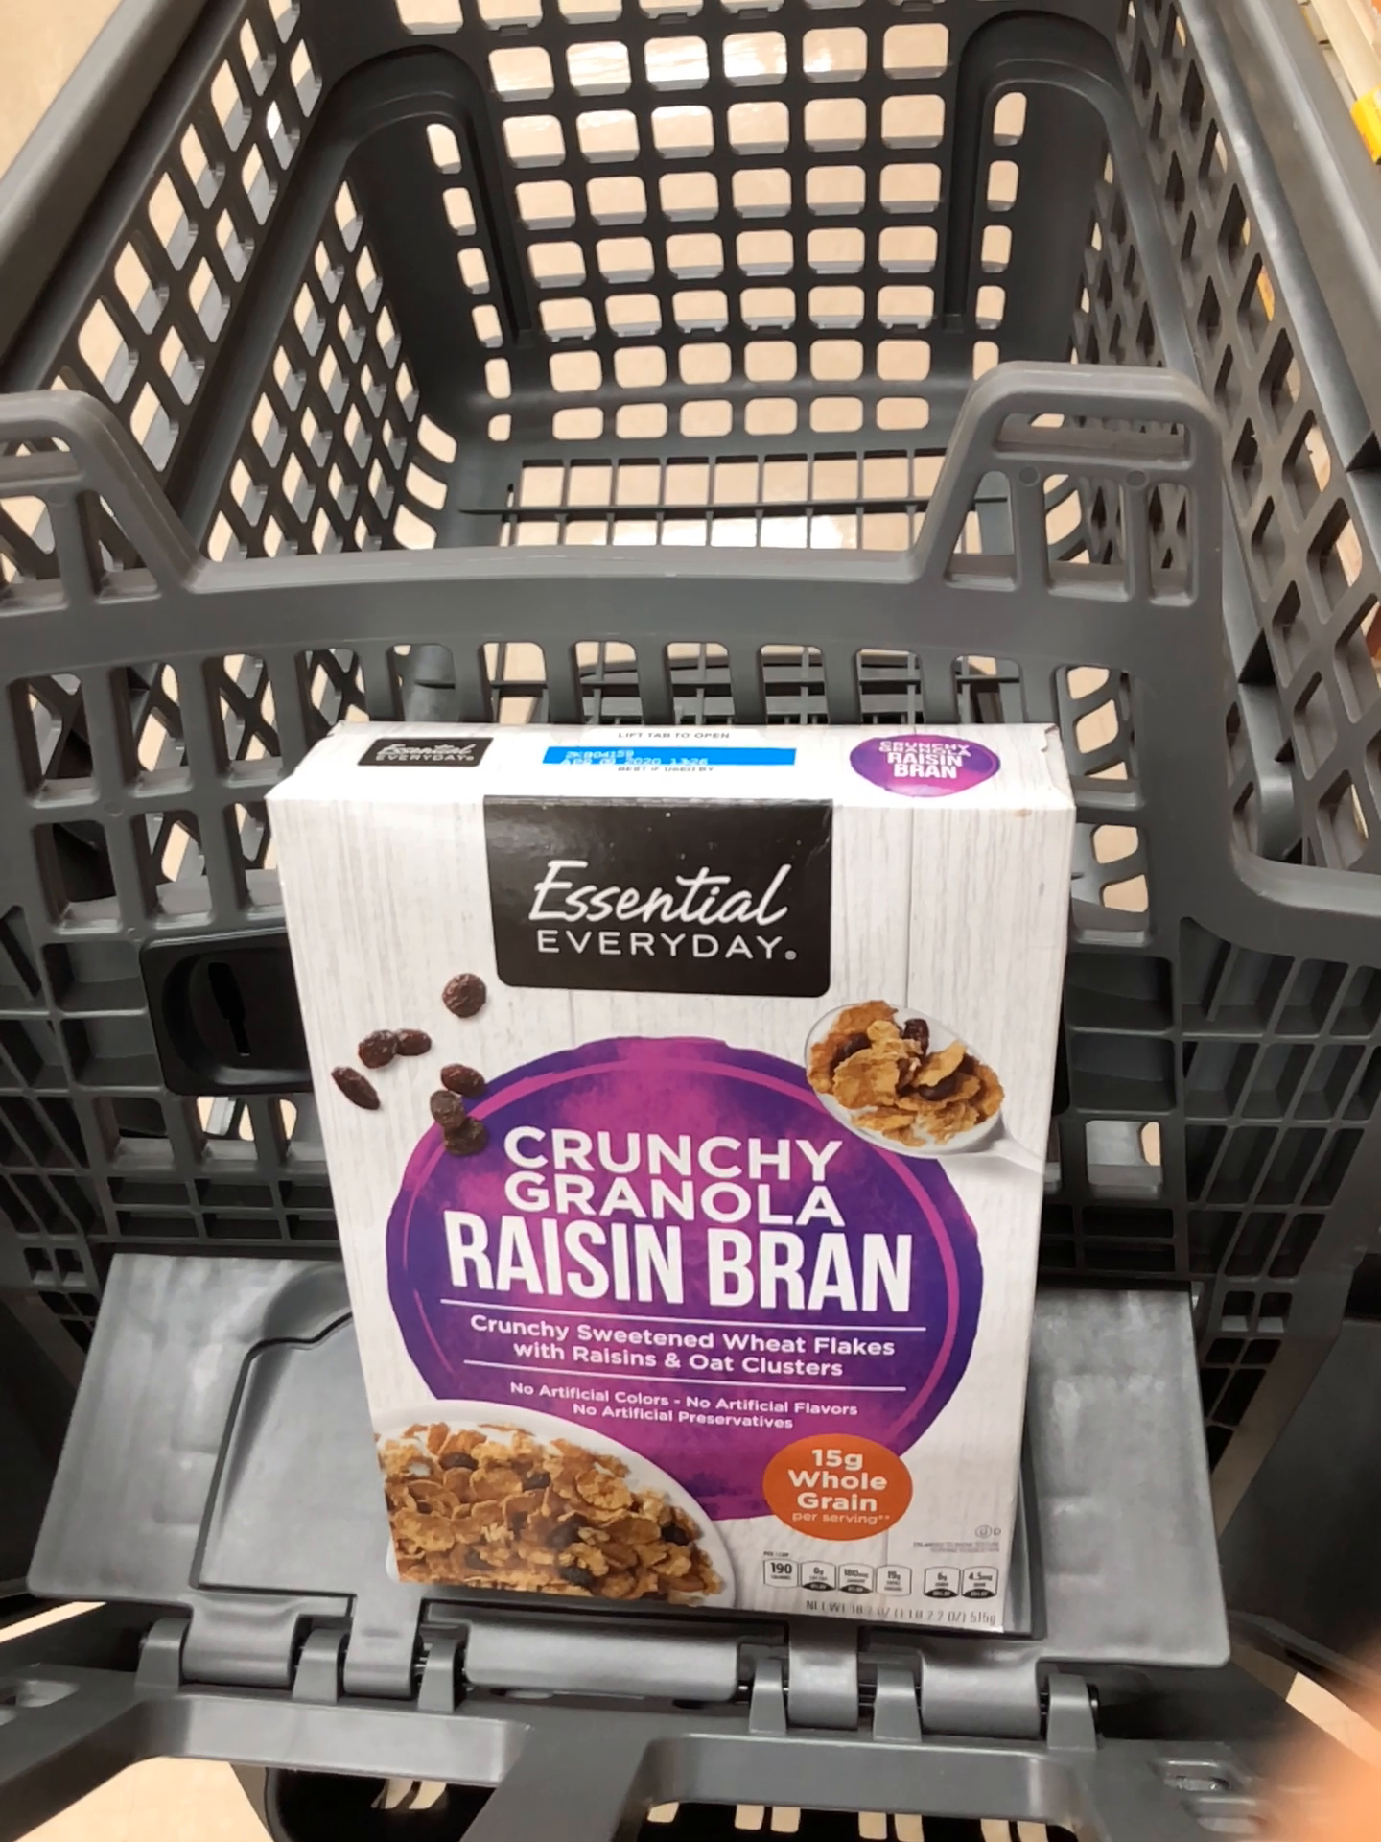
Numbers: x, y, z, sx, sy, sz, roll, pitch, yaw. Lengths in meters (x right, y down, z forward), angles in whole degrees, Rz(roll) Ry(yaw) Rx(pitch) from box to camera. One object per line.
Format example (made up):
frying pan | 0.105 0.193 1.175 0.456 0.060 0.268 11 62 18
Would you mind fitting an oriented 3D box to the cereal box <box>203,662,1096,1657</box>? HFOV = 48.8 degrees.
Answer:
cereal box | -0.004 0.073 0.430 0.200 0.280 0.070 1 26 7
